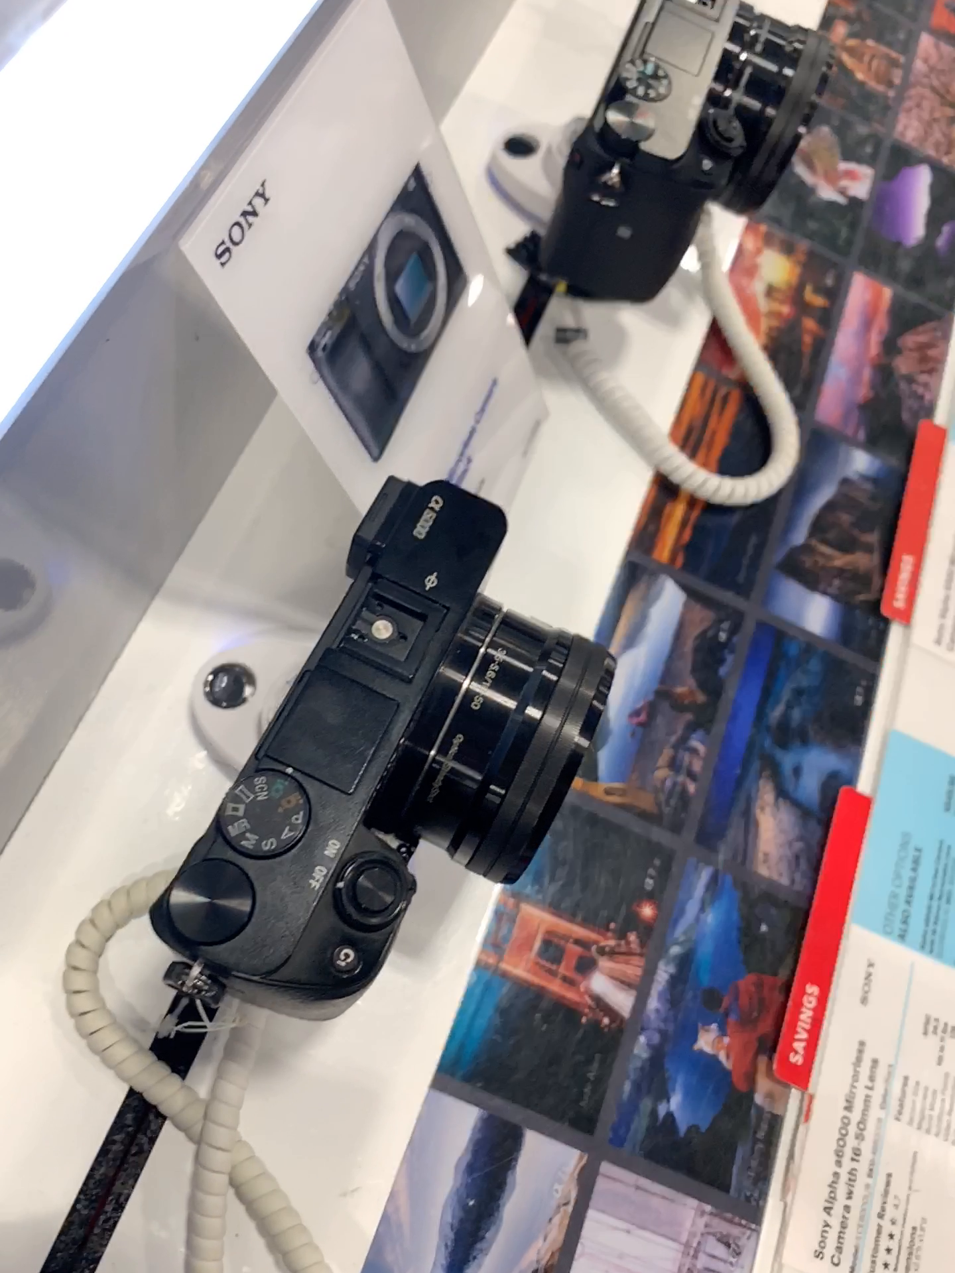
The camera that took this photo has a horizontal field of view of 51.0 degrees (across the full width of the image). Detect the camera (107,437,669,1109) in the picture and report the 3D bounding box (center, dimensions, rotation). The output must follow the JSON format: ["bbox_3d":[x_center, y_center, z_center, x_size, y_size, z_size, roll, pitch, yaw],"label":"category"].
[{"bbox_3d":[-0.015,0.033,0.229,0.065,0.074,0.120,23,64,4],"label":"camera"}]
